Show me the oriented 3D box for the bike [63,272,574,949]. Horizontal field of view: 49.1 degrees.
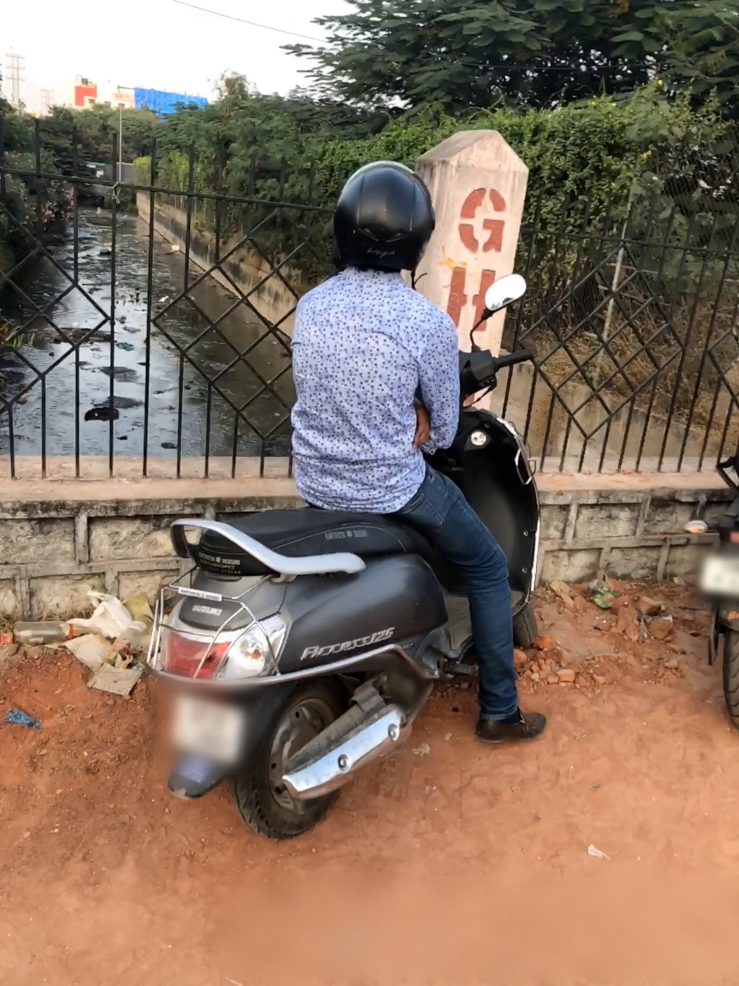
[{"bbox_3d":[-0.038,0.099,2.445,0.797,1.217,1.586,14,23,19],"label":"bike"}]
